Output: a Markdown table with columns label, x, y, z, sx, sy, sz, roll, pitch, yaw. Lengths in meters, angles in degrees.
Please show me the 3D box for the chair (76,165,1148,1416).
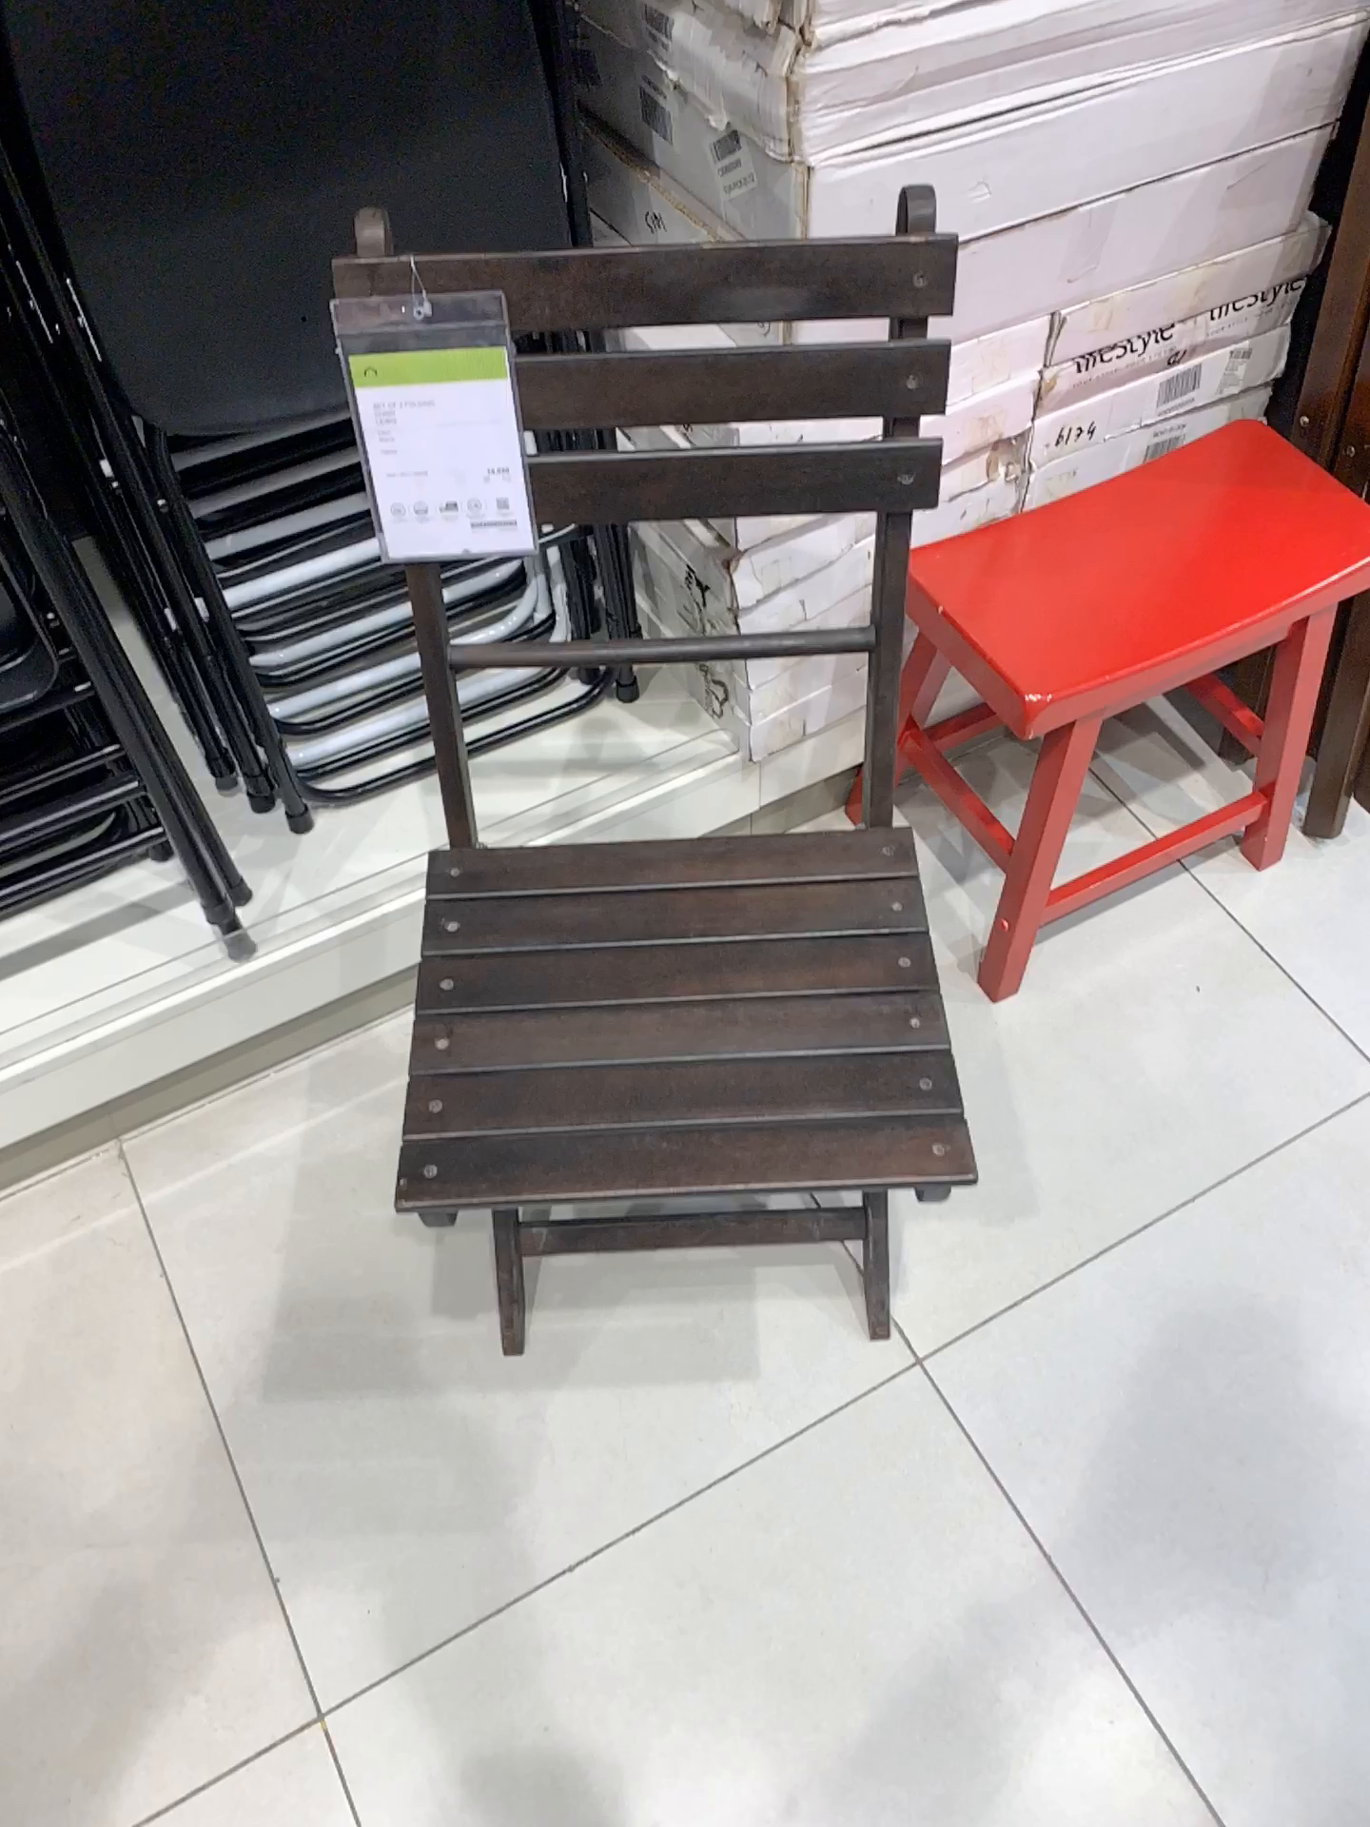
| label | x | y | z | sx | sy | sz | roll | pitch | yaw |
| --- | --- | --- | --- | --- | --- | --- | --- | --- | --- |
| chair | -0.027 | -0.008 | 1.011 | 0.420 | 0.799 | 0.481 | -2 | 54 | 0 |
